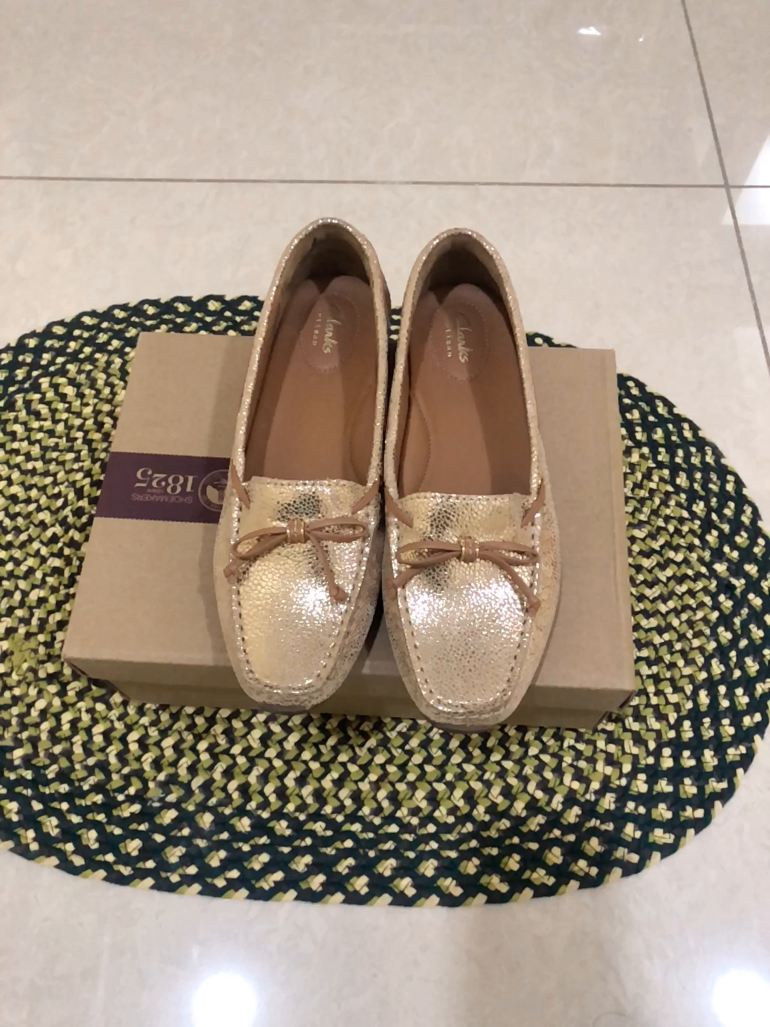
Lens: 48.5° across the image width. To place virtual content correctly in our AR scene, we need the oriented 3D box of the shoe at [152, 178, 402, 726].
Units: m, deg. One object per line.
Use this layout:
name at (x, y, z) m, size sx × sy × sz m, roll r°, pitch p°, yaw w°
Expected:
shoe at (-0.042, -0.043, 0.429) m, size 0.090 × 0.060 × 0.280 m, roll 2°, pitch 63°, yaw 1°

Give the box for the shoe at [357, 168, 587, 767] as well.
shoe at (0.040, -0.039, 0.432) m, size 0.090 × 0.060 × 0.310 m, roll 2°, pitch 63°, yaw 1°
